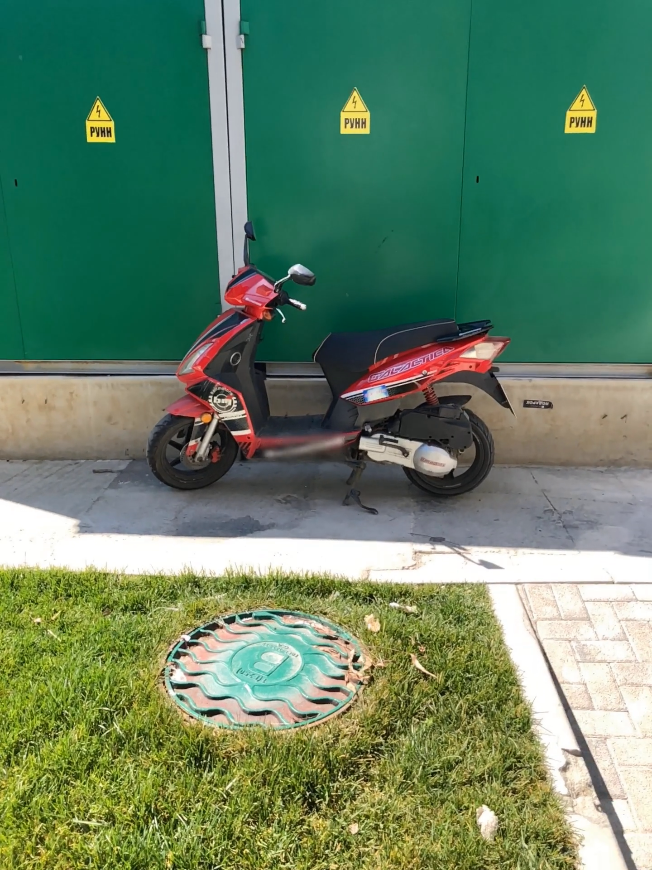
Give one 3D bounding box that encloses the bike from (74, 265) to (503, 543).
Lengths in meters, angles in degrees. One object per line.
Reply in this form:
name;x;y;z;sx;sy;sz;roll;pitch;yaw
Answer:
bike;-0.074;-0.155;3.138;1.590;1.087;0.591;0;16;4
